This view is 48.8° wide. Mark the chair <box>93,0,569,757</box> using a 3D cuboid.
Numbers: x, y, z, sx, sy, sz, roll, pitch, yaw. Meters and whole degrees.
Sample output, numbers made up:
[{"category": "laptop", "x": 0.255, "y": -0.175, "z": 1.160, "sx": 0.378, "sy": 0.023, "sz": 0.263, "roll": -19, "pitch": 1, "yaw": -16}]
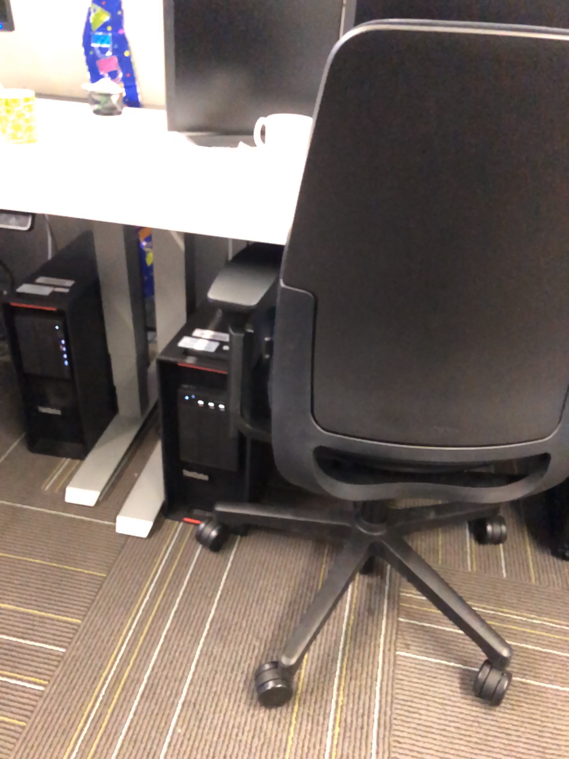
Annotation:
[{"category": "chair", "x": 0.188, "y": -0.027, "z": 1.071, "sx": 0.710, "sy": 1.044, "sz": 0.724, "roll": 4, "pitch": 33, "yaw": 0}]
